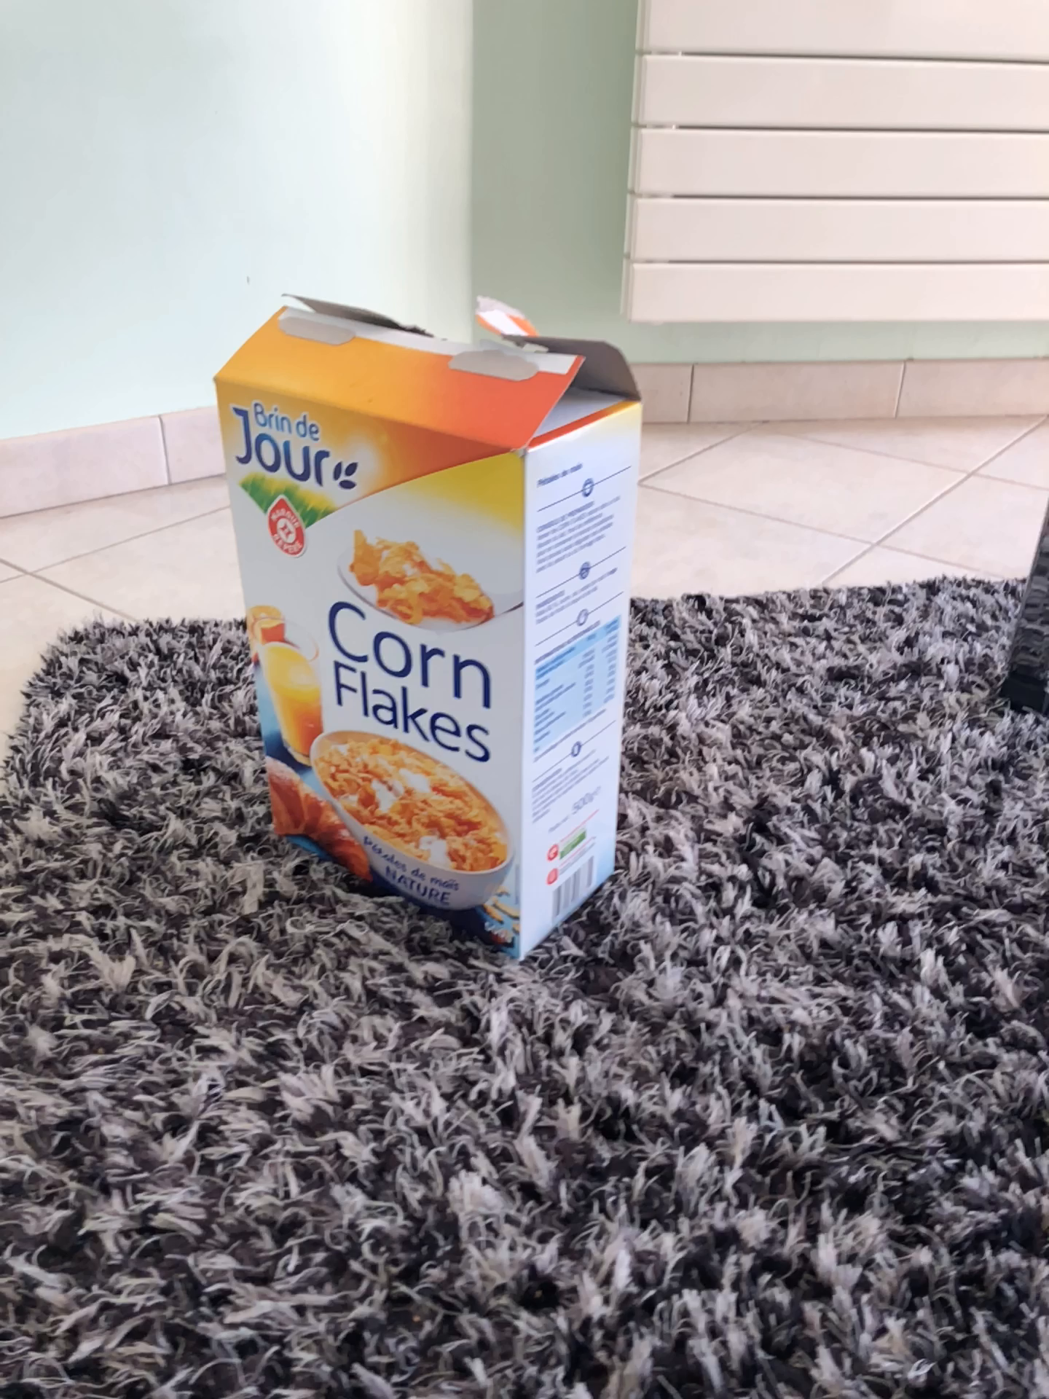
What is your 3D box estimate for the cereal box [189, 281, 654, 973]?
[{"bbox_3d":[-0.055,-0.042,0.612,0.200,0.308,0.101,21,35,31],"label":"cereal box"}]
